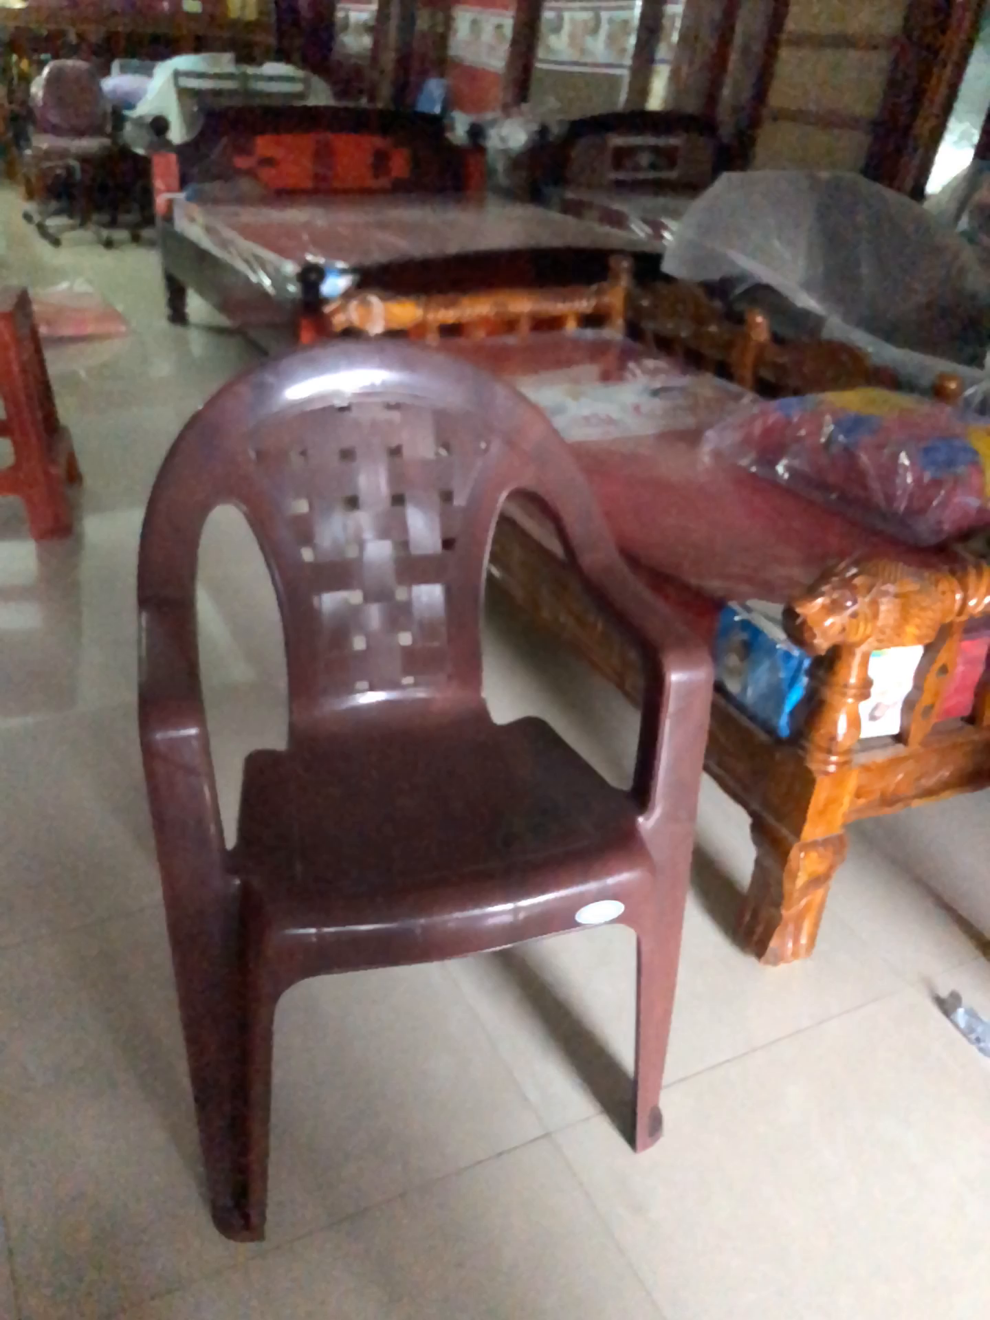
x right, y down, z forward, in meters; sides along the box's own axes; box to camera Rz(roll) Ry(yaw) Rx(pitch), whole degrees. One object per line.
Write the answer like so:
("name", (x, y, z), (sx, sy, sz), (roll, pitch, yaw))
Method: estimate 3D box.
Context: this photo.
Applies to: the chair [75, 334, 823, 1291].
("chair", (-0.120, 0.117, 1.295), (0.601, 0.836, 0.612), (-7, 30, -18))
